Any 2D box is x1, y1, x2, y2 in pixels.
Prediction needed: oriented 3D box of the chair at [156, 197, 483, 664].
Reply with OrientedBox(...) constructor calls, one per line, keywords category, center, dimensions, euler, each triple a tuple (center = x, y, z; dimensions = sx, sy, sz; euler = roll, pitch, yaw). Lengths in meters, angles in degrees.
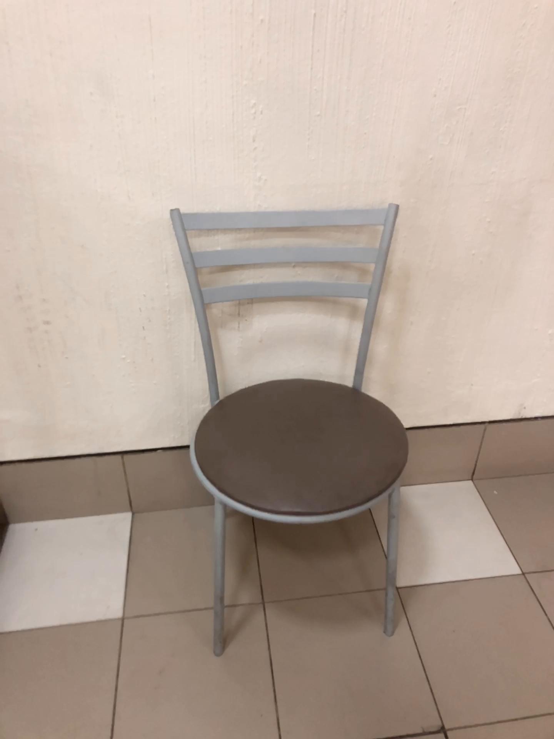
OrientedBox(category="chair", center=(0.029, 0.123, 1.160), dimensions=(0.430, 0.764, 0.423), euler=(-5, 34, -7))
